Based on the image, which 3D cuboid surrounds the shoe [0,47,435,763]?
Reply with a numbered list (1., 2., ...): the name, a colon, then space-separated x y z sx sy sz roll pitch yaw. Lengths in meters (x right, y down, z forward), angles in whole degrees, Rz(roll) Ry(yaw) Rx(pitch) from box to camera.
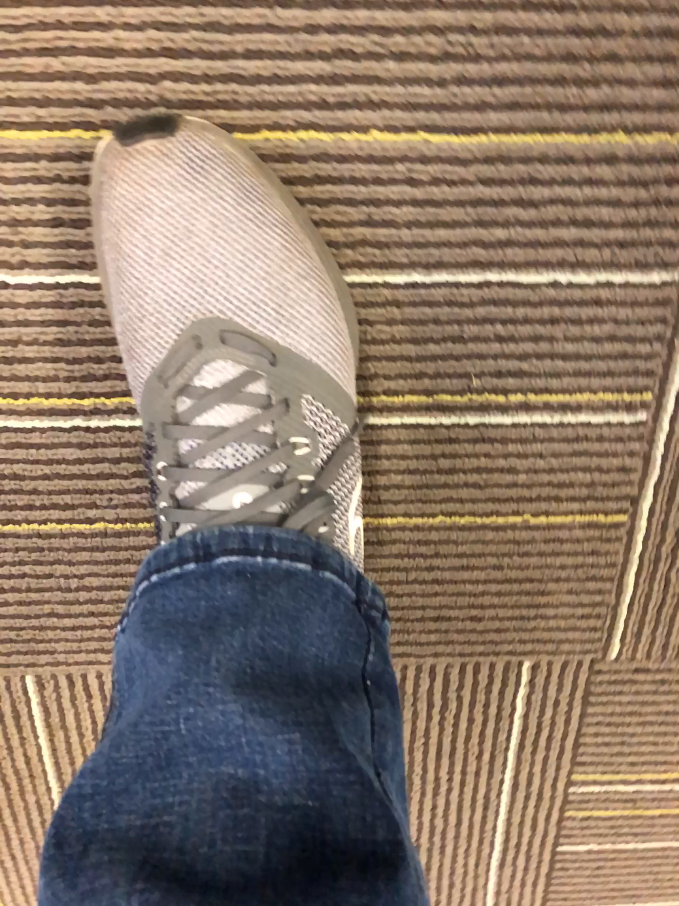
1. shoe: -0.039 -0.005 0.347 0.120 0.060 0.301 -10 109 3
